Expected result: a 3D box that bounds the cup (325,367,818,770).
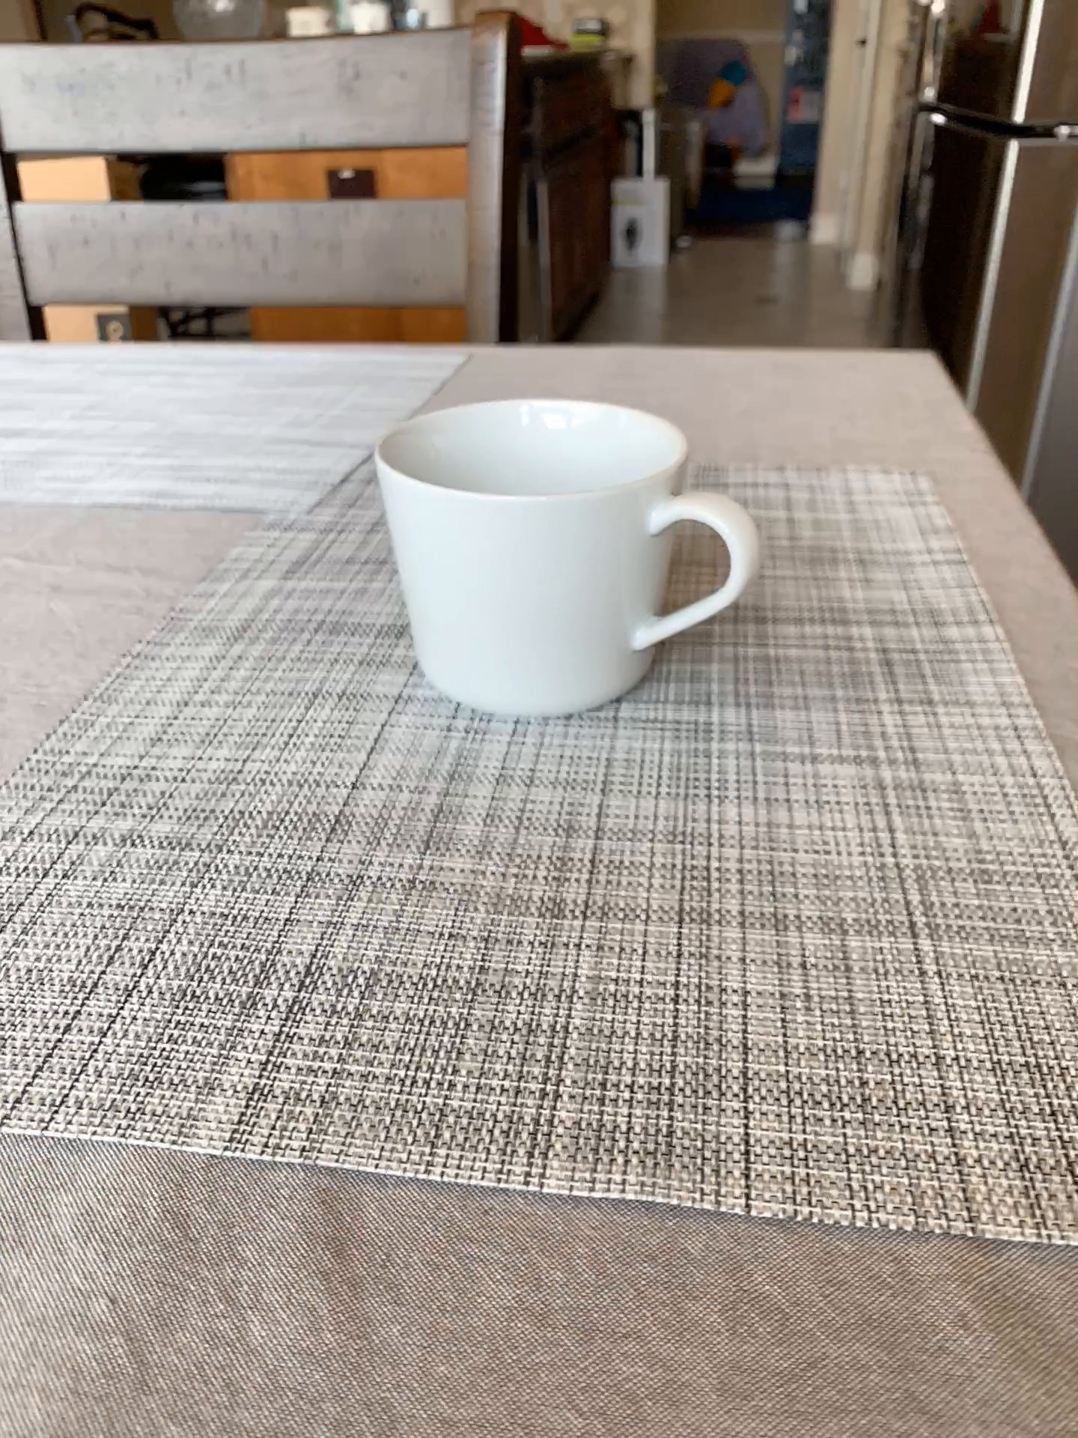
[{"bbox_3d":[0.013,-0.058,0.377,0.121,0.081,0.100,18,36,29],"label":"cup"}]
